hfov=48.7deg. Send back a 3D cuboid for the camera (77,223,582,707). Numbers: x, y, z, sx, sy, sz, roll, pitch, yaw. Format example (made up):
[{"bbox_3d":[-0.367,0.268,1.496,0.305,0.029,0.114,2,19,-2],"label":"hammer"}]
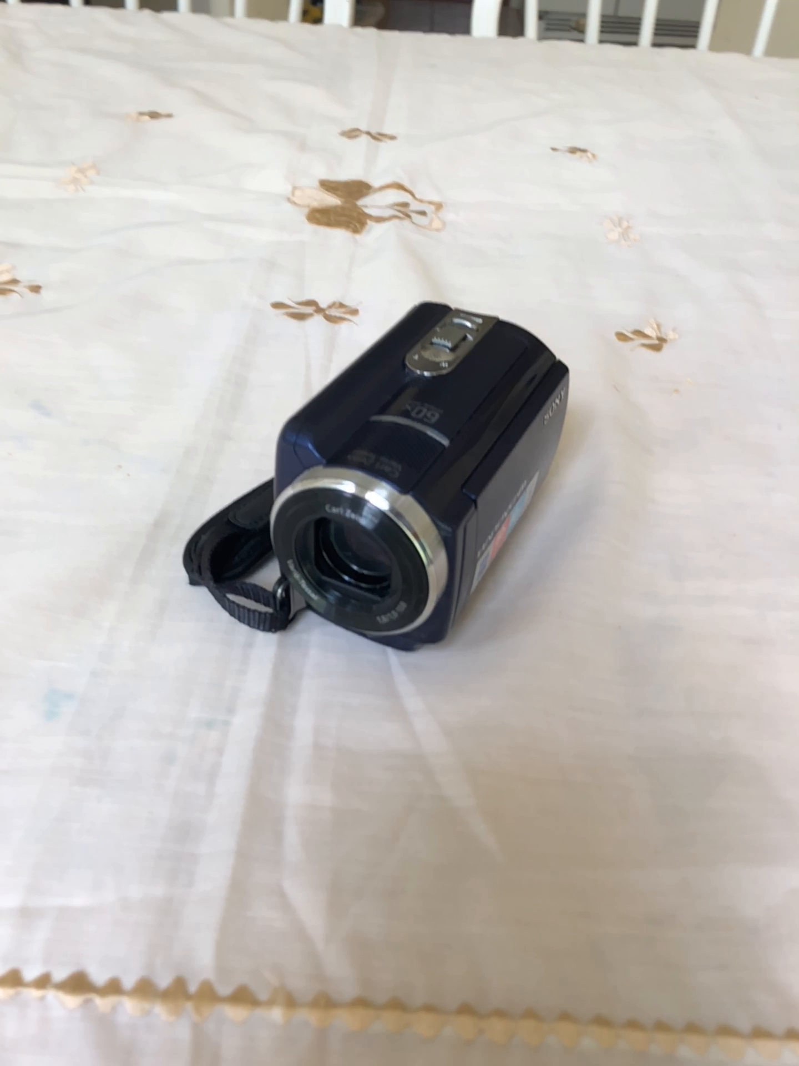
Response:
[{"bbox_3d":[-0.013,-0.030,0.263,0.090,0.070,0.120,19,42,18],"label":"camera"}]
